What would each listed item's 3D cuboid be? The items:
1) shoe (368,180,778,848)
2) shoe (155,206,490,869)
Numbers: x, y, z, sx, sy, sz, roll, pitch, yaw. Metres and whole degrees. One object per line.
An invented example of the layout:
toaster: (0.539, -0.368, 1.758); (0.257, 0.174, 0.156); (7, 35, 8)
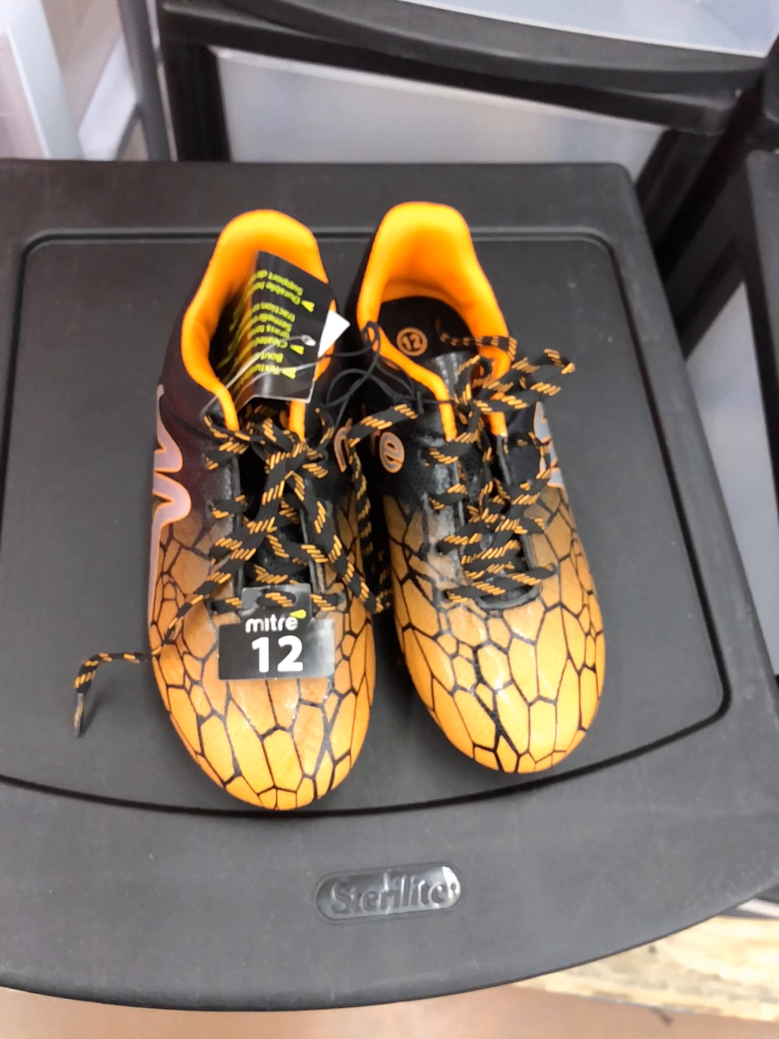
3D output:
shoe: (0.048, -0.007, 0.286); (0.080, 0.070, 0.200); (-5, 67, -8)
shoe: (-0.030, 0.003, 0.292); (0.080, 0.080, 0.200); (-4, 67, -8)
